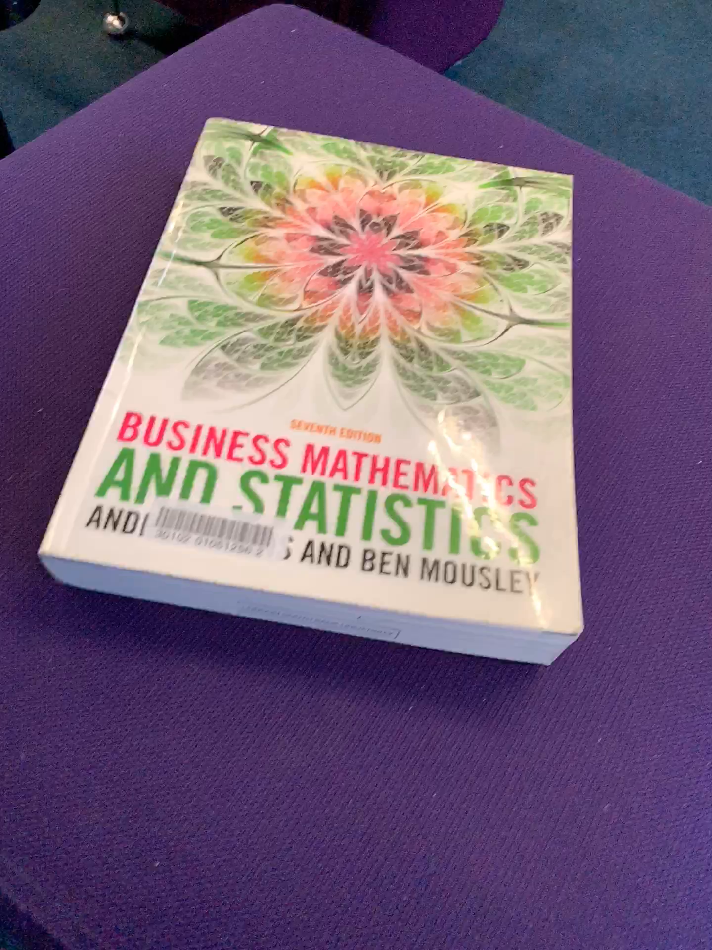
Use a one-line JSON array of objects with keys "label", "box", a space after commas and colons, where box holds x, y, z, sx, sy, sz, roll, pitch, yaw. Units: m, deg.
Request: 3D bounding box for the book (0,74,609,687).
[{"label": "book", "box": [-0.003, -0.061, 0.319, 0.200, 0.050, 0.261, 10, 58, -1]}]
